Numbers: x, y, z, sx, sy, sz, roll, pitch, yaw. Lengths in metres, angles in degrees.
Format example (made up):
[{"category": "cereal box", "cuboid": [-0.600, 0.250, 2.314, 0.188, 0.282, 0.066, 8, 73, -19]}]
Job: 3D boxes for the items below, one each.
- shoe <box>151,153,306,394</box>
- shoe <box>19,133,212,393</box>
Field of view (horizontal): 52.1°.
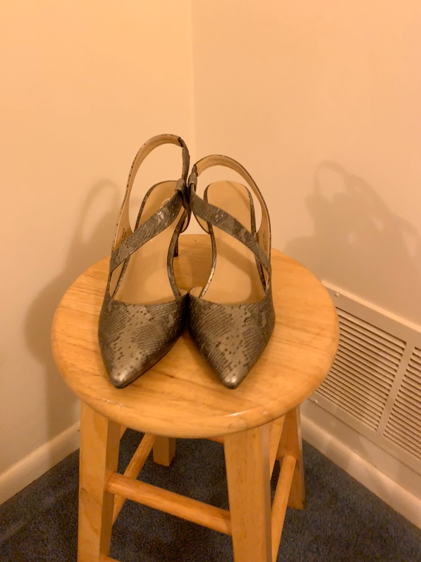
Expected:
[{"category": "shoe", "cuboid": [0.016, -0.027, 0.416, 0.102, 0.106, 0.251, 1, 36, 2]}, {"category": "shoe", "cuboid": [-0.063, -0.041, 0.428, 0.100, 0.125, 0.271, 4, 36, 5]}]
